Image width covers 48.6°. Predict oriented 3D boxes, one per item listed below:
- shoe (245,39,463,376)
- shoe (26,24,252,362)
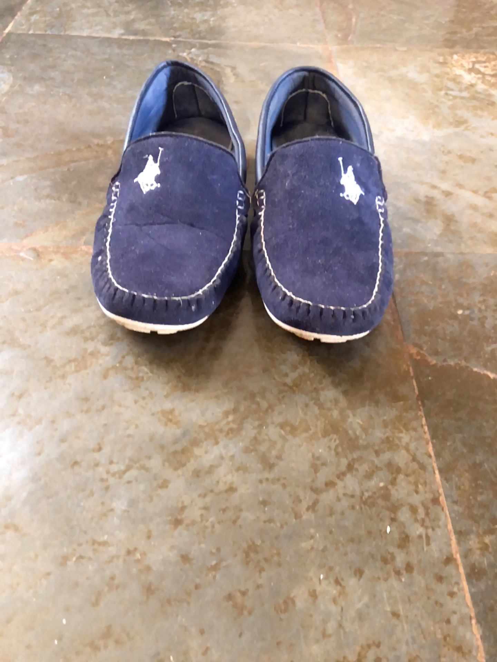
[{"bbox_3d":[0.052,-0.102,0.381,0.100,0.089,0.262,2,48,-1],"label":"shoe"},{"bbox_3d":[-0.052,-0.110,0.375,0.100,0.089,0.262,2,48,-1],"label":"shoe"}]
